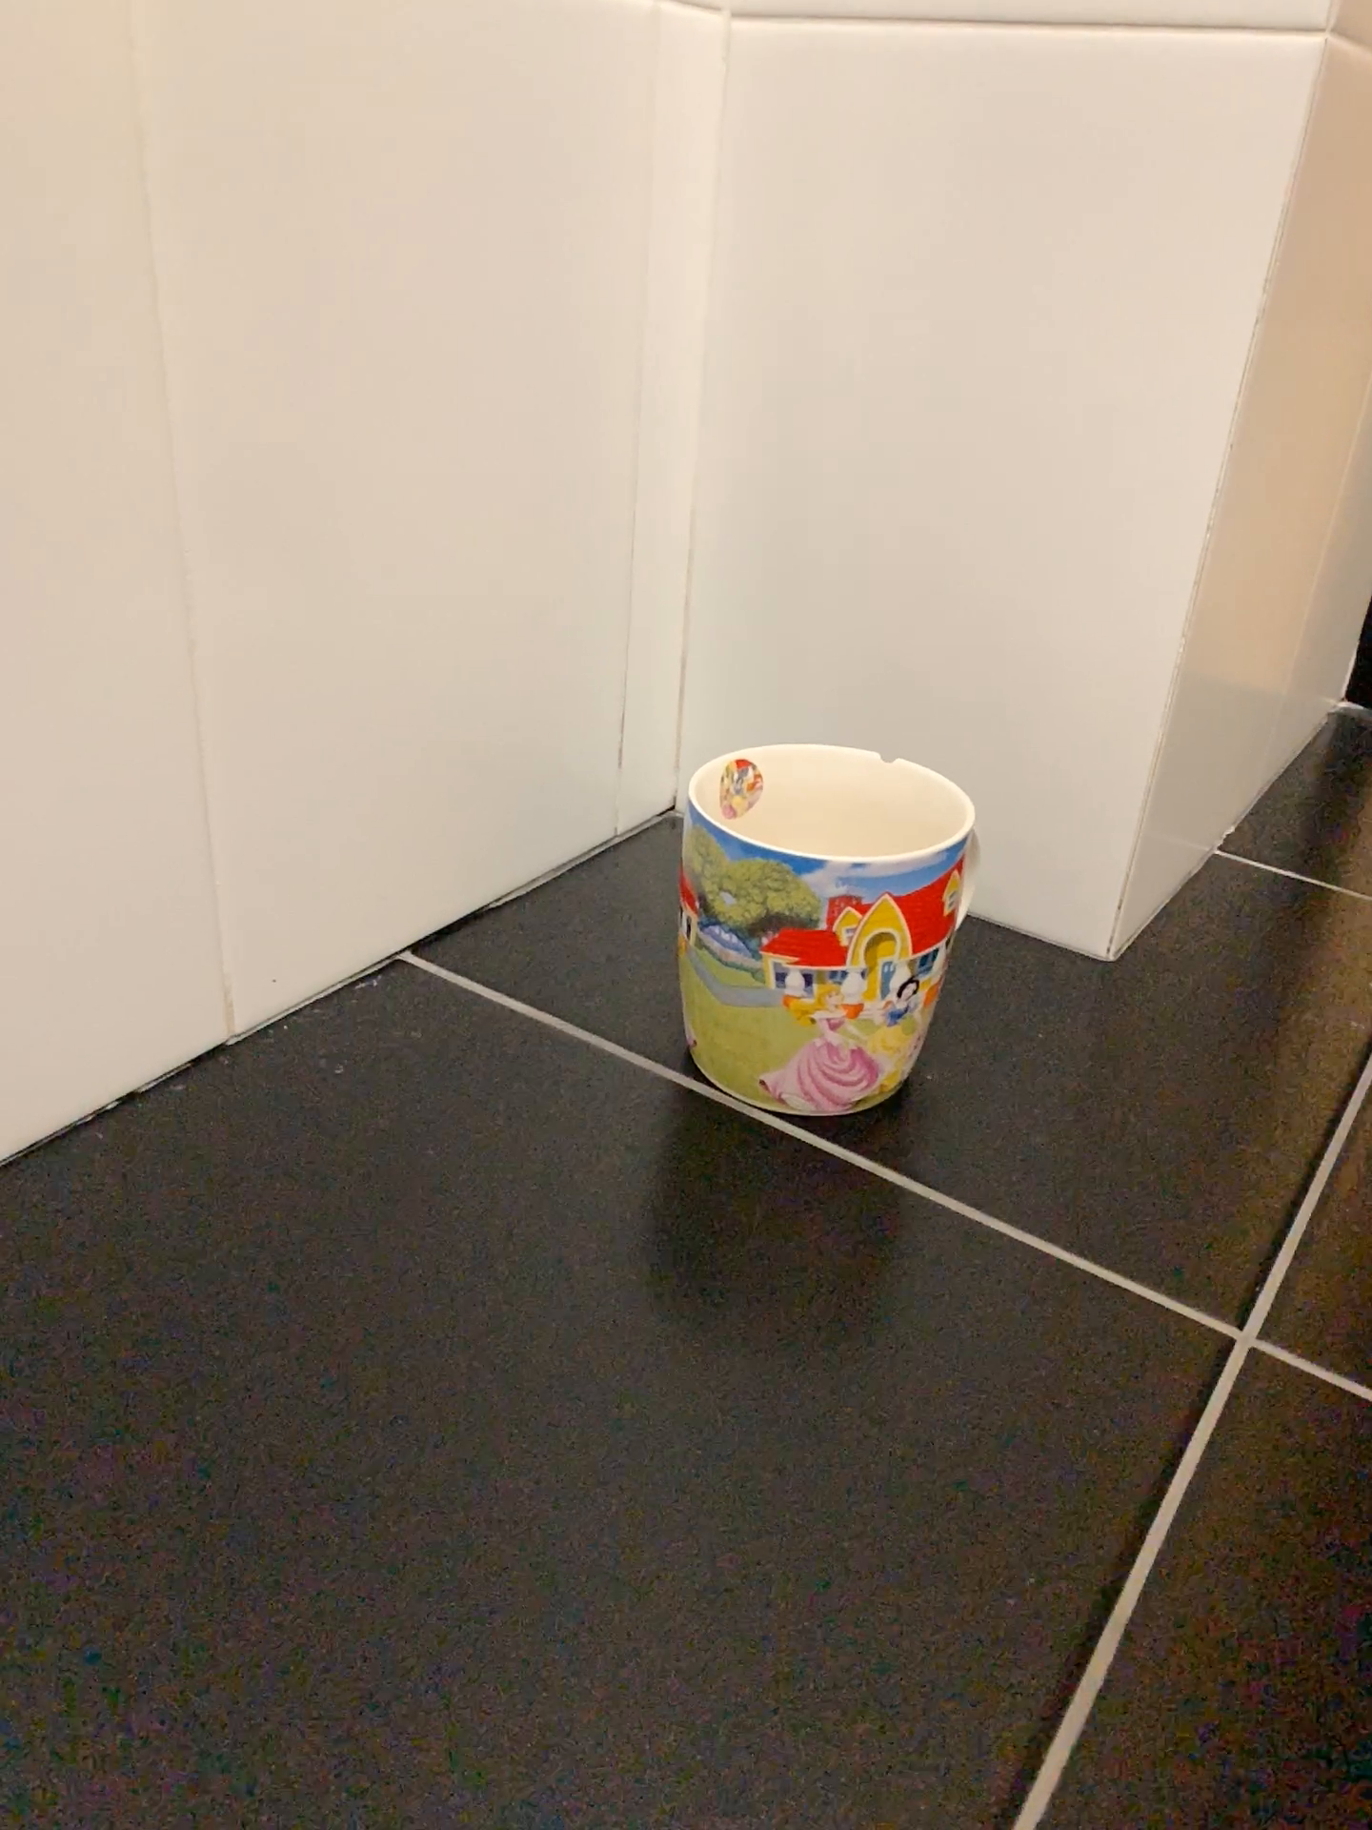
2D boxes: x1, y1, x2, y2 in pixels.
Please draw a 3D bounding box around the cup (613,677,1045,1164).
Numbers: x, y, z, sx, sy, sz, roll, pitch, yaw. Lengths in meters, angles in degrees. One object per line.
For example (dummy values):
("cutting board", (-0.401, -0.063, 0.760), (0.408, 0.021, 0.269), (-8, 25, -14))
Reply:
("cup", (0.048, -0.006, 0.464), (0.085, 0.099, 0.125), (19, 31, 24))
